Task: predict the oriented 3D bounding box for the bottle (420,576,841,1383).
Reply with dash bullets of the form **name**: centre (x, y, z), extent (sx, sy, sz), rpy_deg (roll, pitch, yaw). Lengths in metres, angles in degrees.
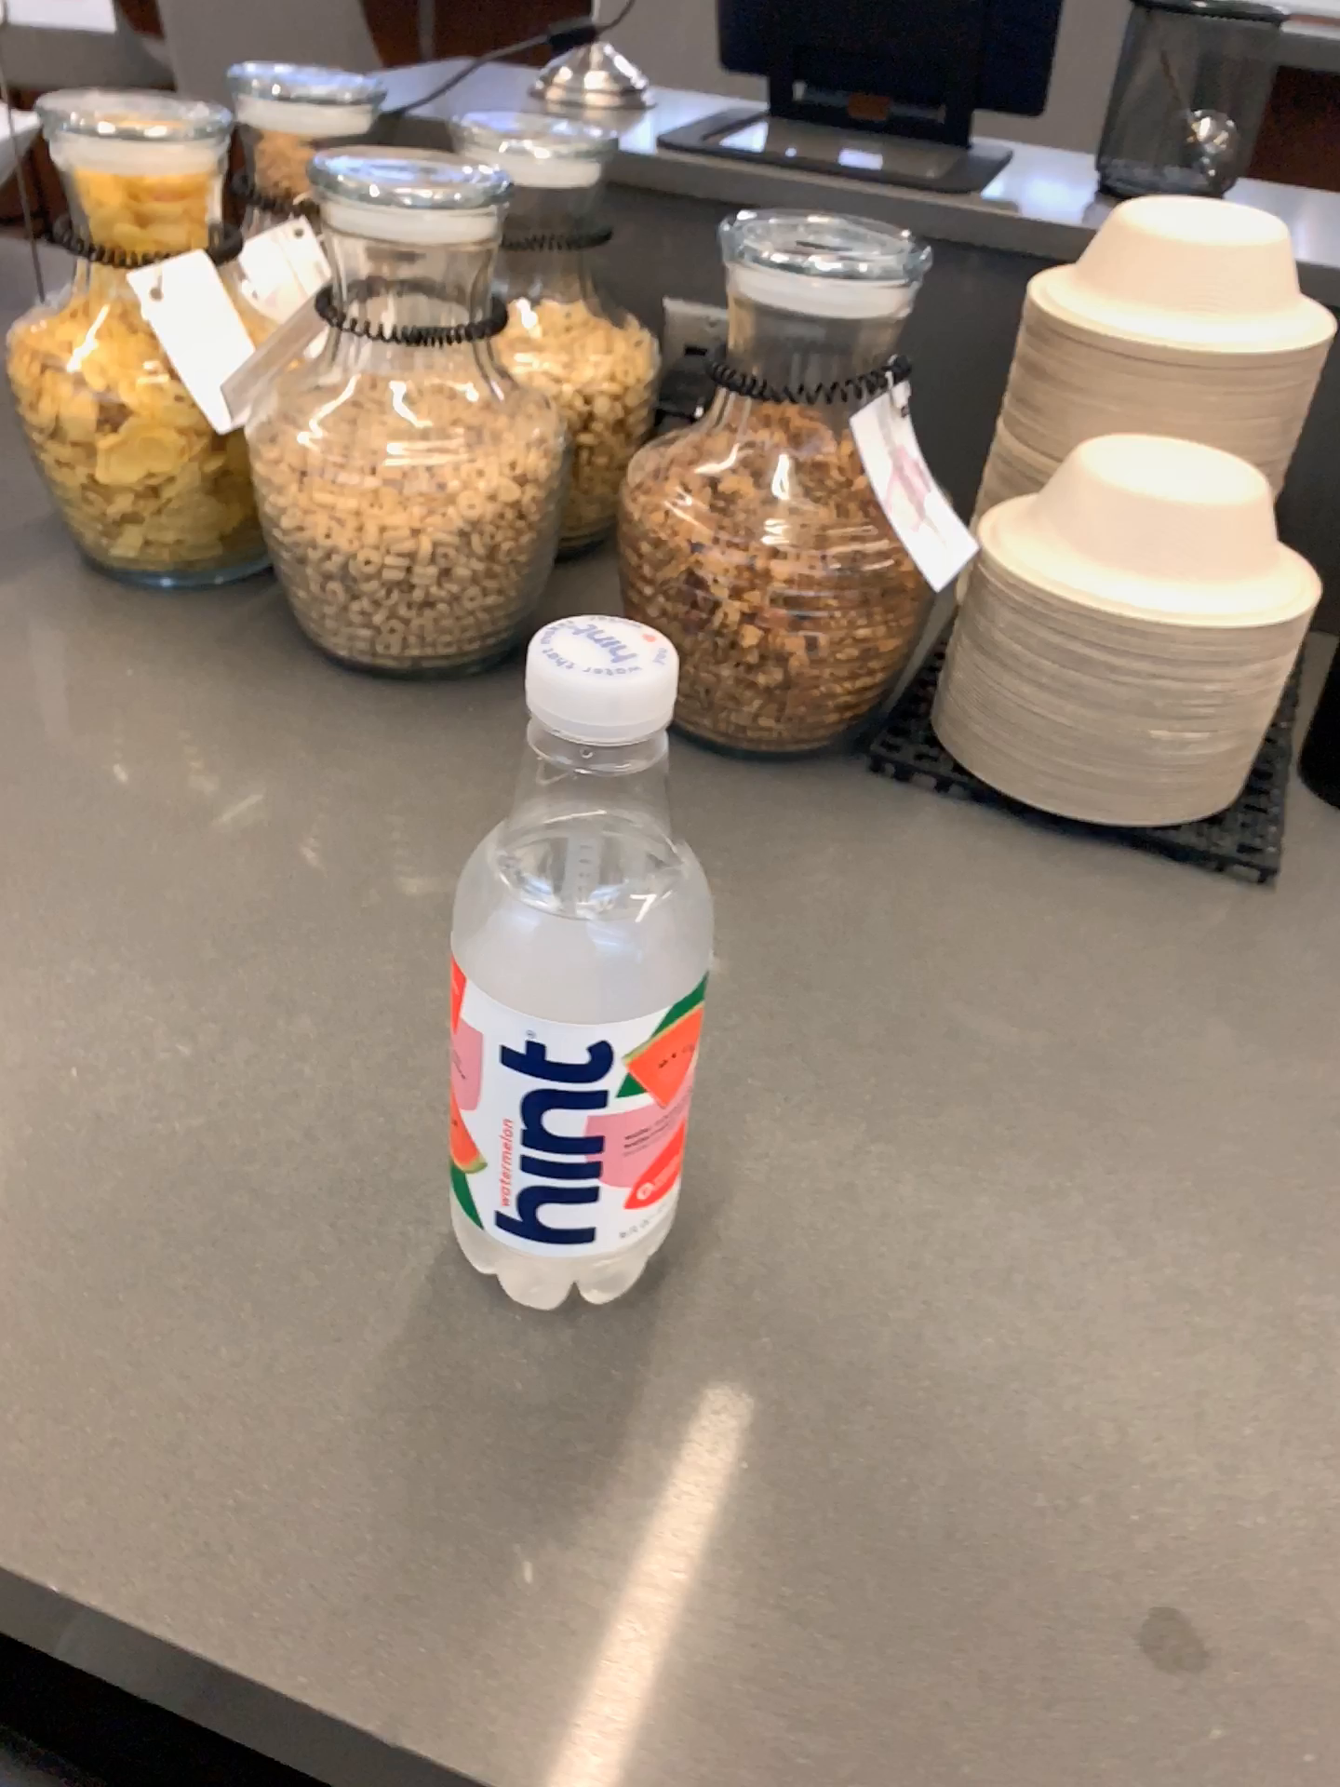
- **bottle**: centre (-0.020, 0.028, 0.360), extent (0.070, 0.199, 0.070), rpy_deg (4, 36, -3)
